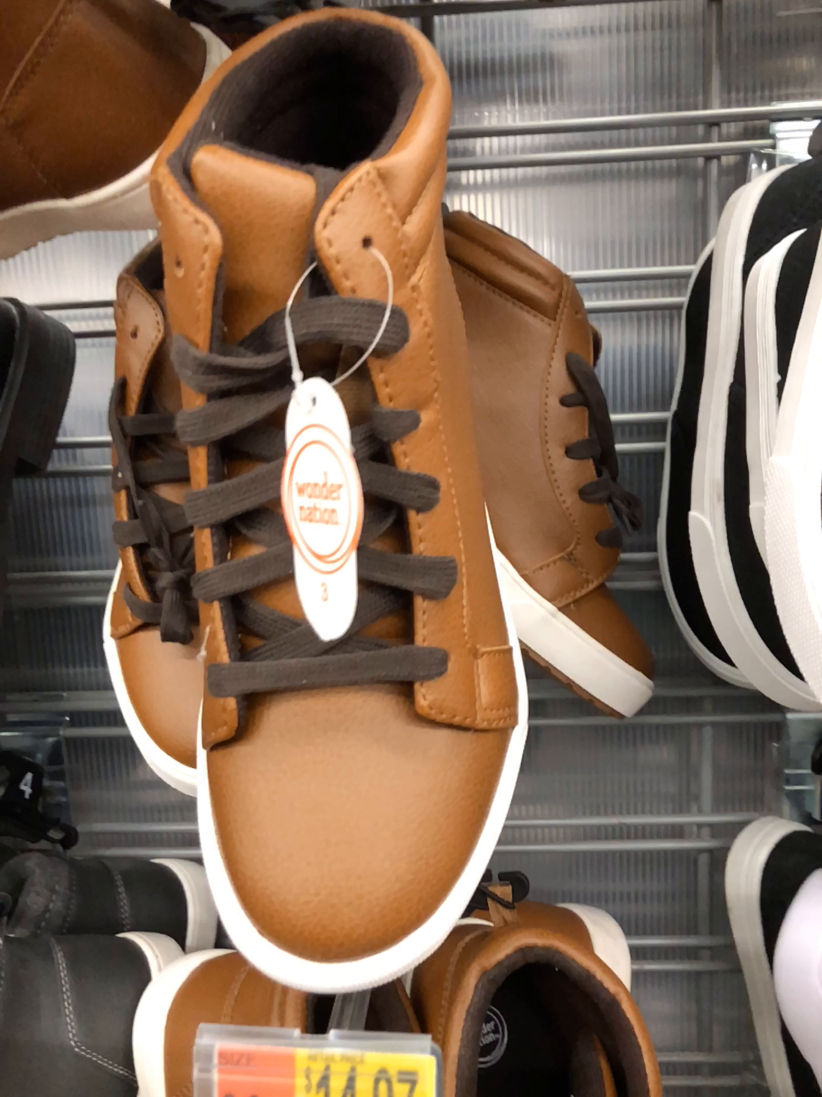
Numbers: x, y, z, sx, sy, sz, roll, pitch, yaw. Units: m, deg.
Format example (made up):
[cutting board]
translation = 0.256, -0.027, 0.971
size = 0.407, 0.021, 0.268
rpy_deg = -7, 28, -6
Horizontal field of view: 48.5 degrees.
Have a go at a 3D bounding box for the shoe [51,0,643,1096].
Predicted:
[shoe]
translation = -0.016, -0.007, 0.226
size = 0.096, 0.227, 0.110
rpy_deg = -3, -13, -1
